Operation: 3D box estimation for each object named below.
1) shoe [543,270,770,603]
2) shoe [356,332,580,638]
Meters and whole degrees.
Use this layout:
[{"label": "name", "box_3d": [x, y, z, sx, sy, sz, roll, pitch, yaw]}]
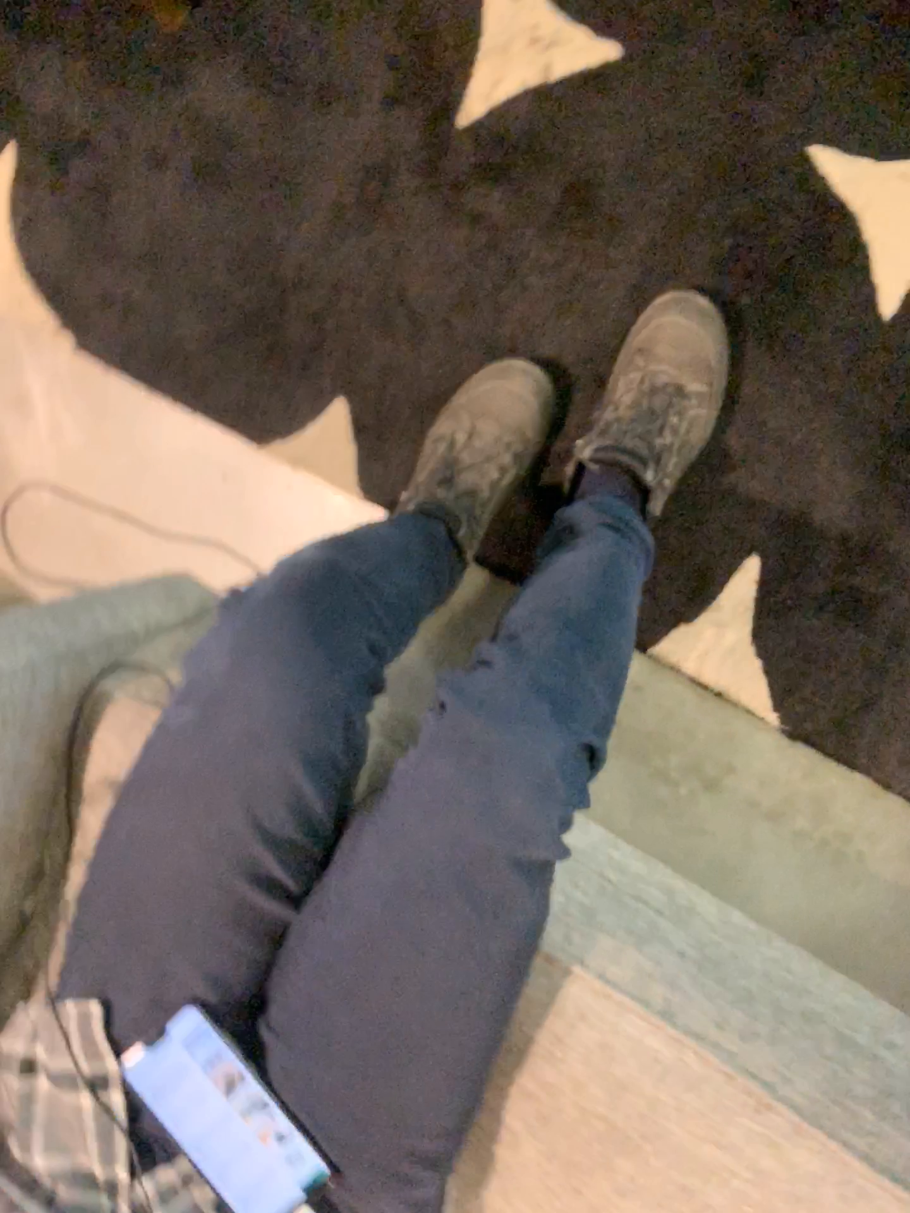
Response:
[{"label": "shoe", "box_3d": [0.194, -0.163, 0.930, 0.121, 0.077, 0.288, 20, 106, 10]}, {"label": "shoe", "box_3d": [0.012, -0.125, 0.991, 0.119, 0.077, 0.285, 26, 107, 8]}]
